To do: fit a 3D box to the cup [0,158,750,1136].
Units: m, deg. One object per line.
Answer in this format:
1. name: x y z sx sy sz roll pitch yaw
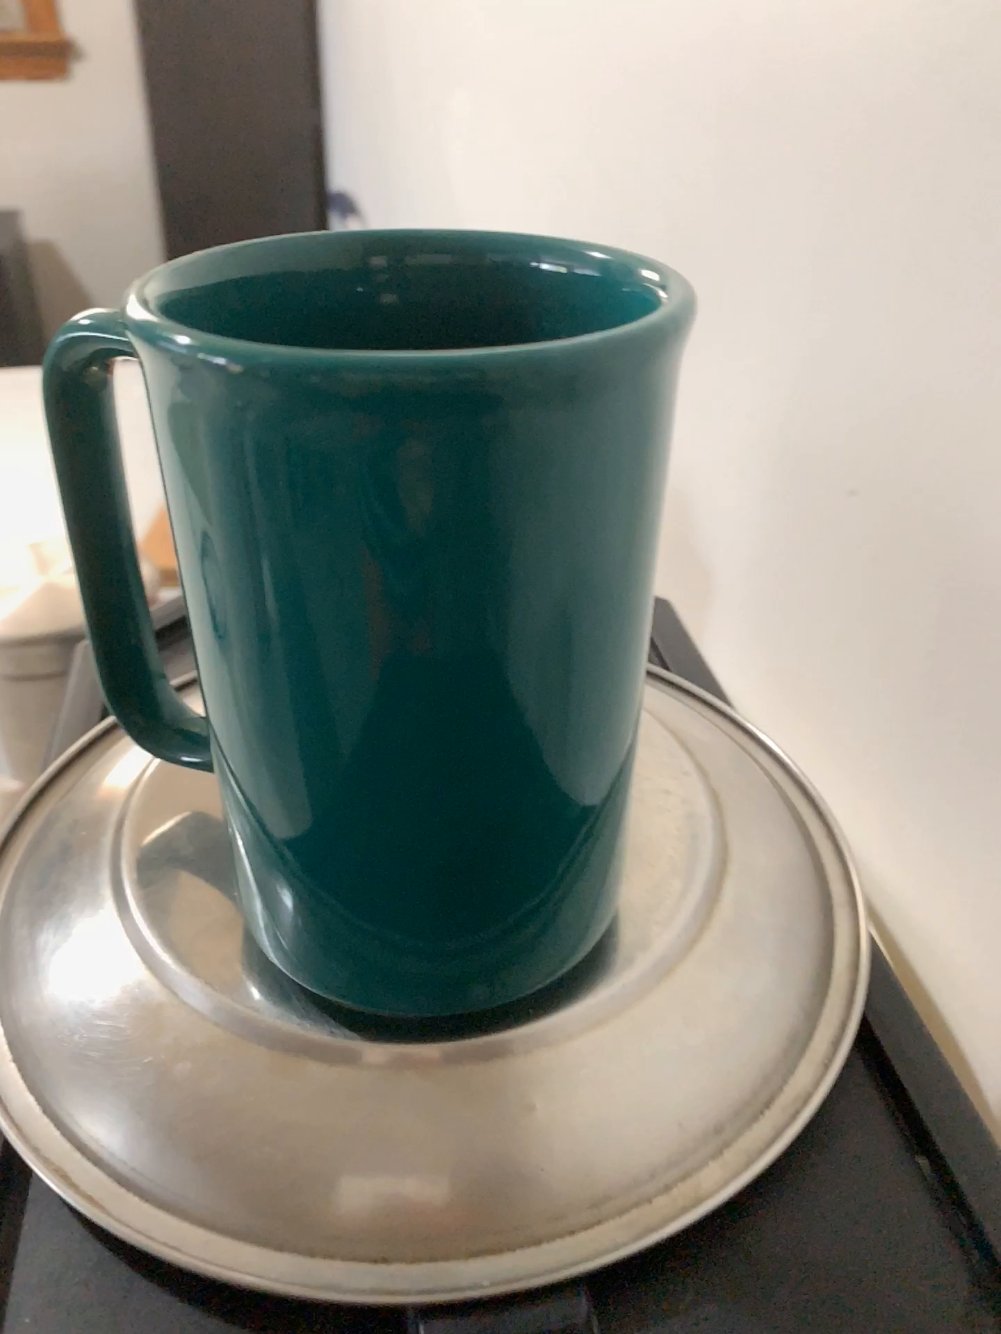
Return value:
1. cup: -0.035 -0.013 0.180 0.120 0.119 0.081 15 35 20
